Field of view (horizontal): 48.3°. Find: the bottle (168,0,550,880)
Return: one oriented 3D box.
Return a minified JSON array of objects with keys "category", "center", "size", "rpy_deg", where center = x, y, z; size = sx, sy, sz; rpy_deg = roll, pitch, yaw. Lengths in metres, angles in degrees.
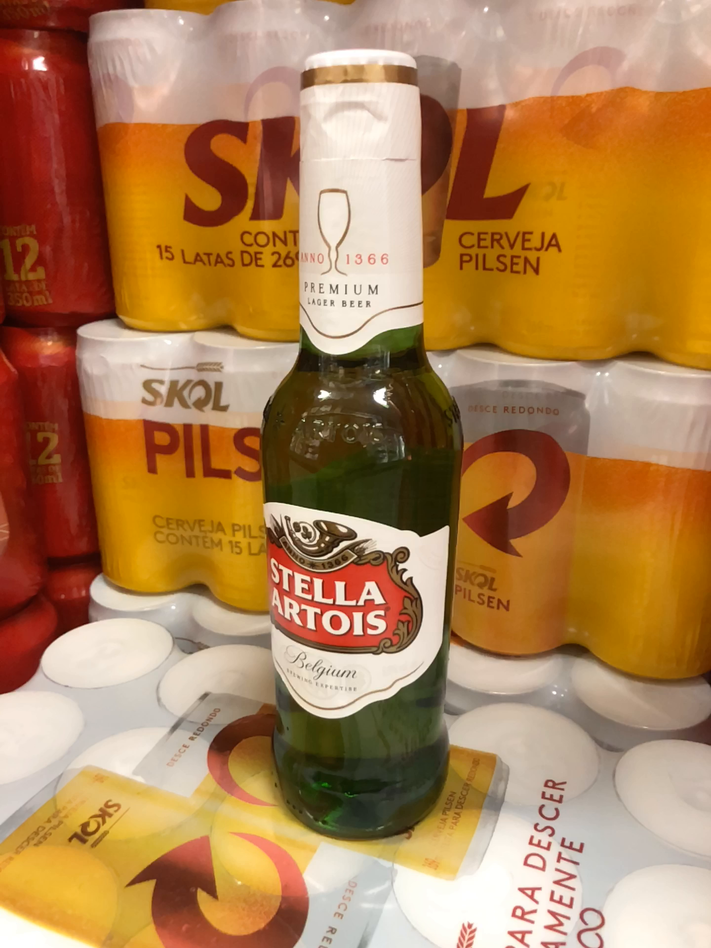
[{"category":"bottle","center":[0.007,-0.003,0.219],"size":[0.070,0.219,0.060],"rpy_deg":[6,23,20]}]
